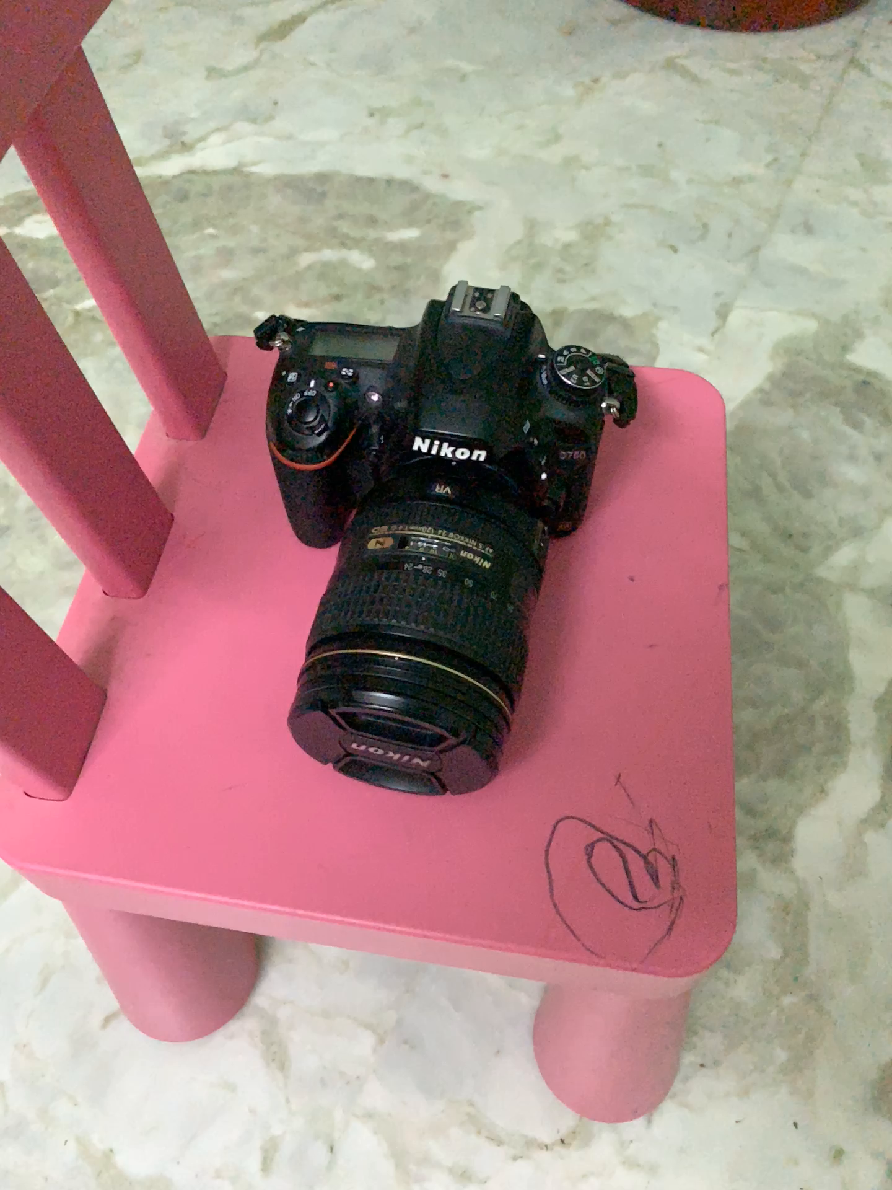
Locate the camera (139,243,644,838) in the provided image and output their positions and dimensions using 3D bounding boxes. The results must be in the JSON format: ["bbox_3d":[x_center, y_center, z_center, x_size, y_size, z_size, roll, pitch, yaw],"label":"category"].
[{"bbox_3d":[-0.006,-0.031,0.363,0.140,0.080,0.210,9,59,6],"label":"camera"}]
